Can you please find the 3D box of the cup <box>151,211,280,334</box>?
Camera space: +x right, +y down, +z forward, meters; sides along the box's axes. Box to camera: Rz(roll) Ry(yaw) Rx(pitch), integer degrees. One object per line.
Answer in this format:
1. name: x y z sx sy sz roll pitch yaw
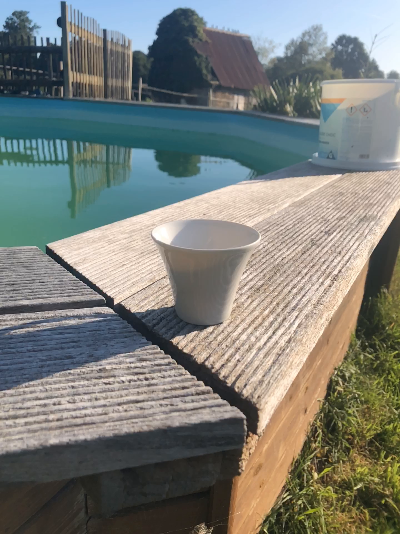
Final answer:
1. cup: 0.006 -0.001 0.317 0.076 0.053 0.097 2 21 -3
